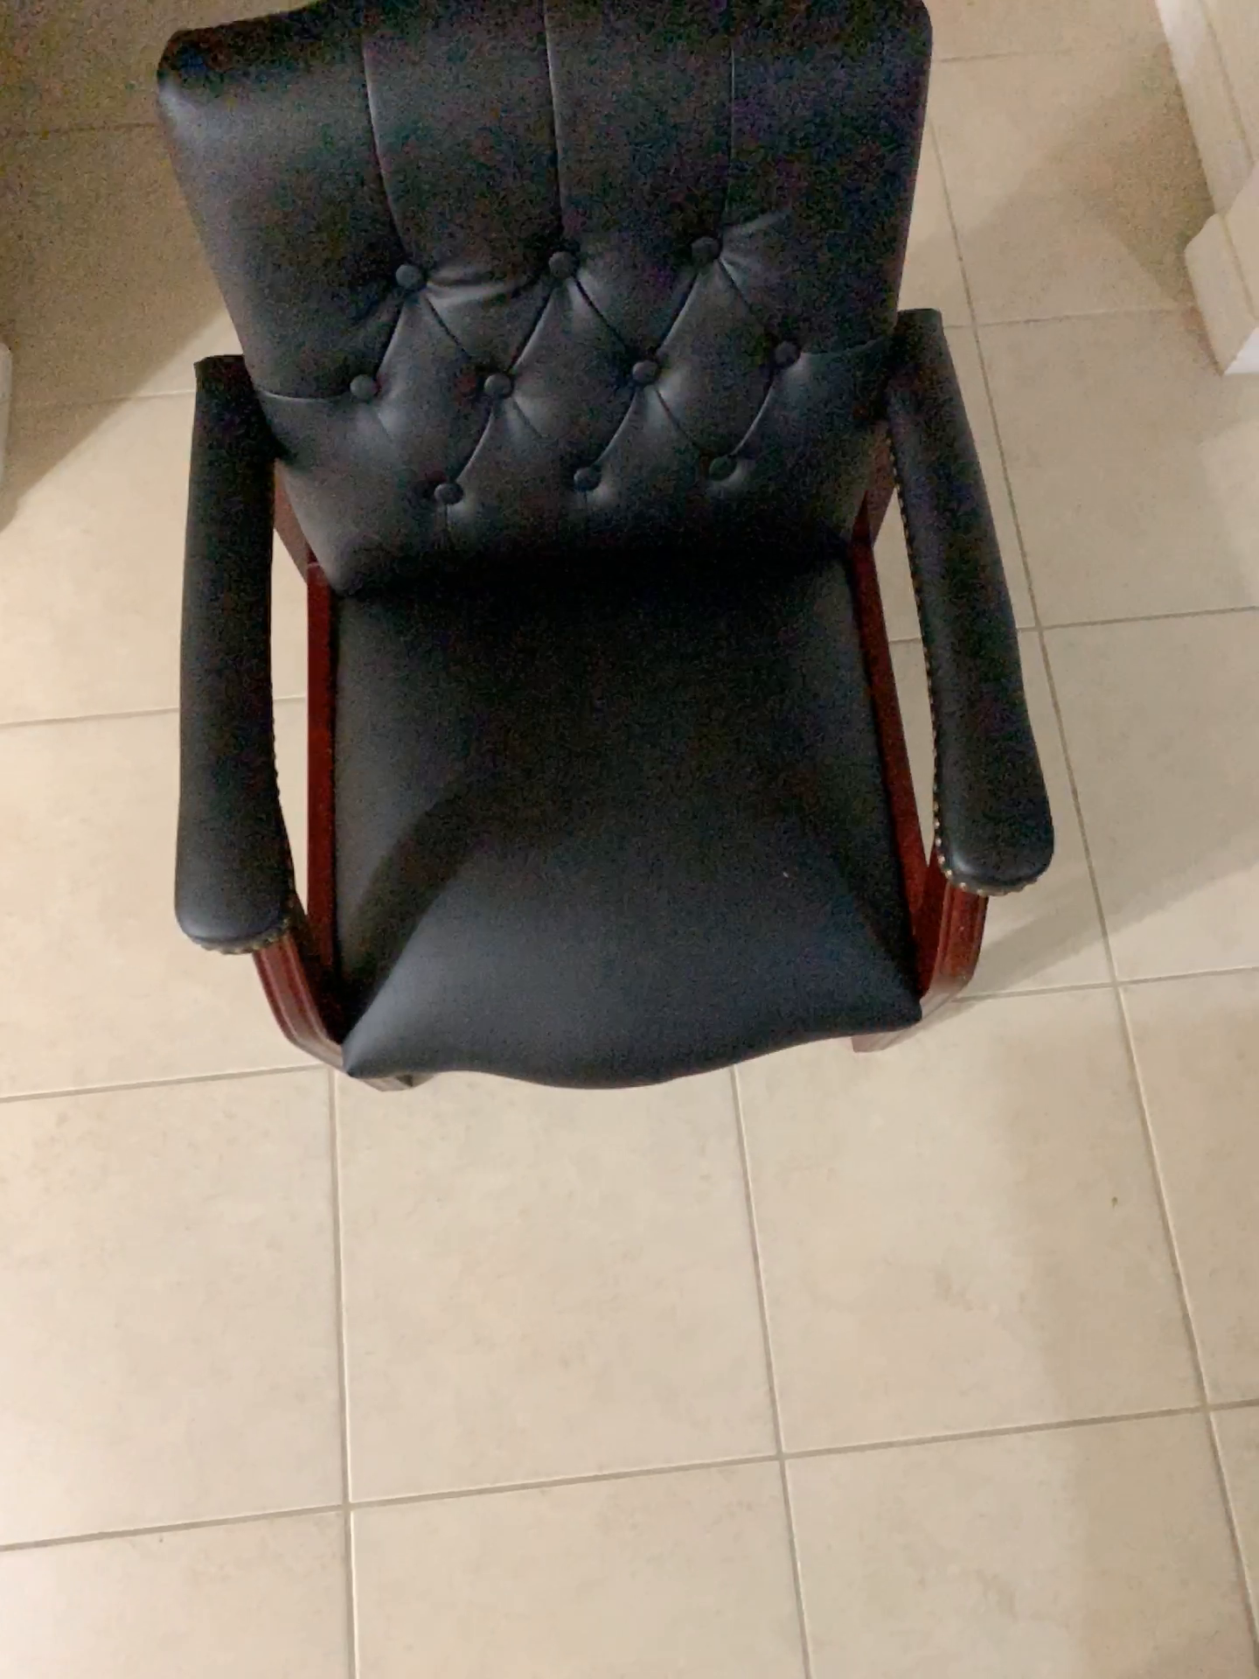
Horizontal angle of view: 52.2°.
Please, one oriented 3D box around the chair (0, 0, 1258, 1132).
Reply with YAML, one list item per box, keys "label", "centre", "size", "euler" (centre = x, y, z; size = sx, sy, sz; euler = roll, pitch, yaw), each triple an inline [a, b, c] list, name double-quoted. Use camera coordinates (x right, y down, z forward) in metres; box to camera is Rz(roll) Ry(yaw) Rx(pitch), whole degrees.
- label: "chair"
  centre: [-0.036, -0.139, 1.121]
  size: [0.631, 0.914, 0.656]
  euler: [-5, 74, -2]
